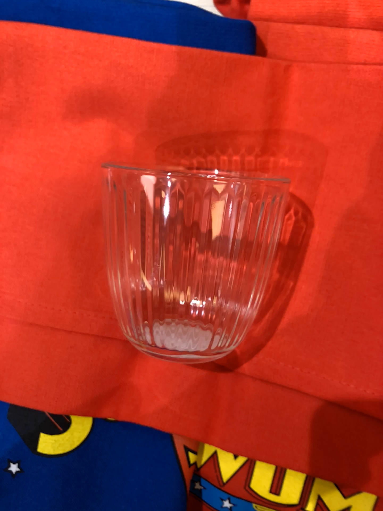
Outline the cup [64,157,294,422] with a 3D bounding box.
[{"bbox_3d":[-0.004,0.008,0.190,0.080,0.060,0.090,8,106,9],"label":"cup"}]
